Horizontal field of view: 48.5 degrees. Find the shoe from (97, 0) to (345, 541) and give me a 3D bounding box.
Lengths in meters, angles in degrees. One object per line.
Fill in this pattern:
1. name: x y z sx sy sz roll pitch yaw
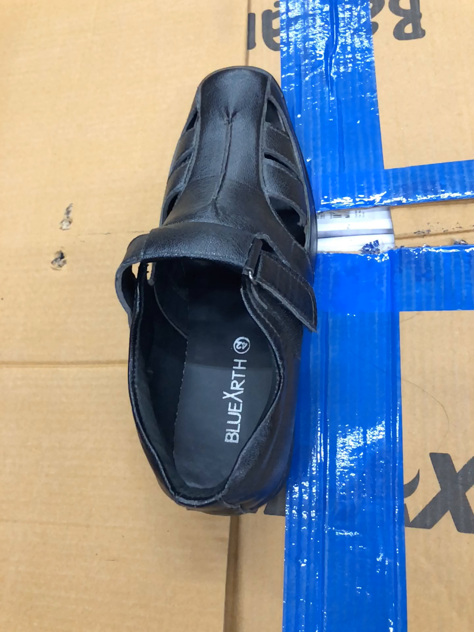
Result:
1. shoe: 0.001 -0.042 0.301 0.100 0.100 0.301 -3 73 13
